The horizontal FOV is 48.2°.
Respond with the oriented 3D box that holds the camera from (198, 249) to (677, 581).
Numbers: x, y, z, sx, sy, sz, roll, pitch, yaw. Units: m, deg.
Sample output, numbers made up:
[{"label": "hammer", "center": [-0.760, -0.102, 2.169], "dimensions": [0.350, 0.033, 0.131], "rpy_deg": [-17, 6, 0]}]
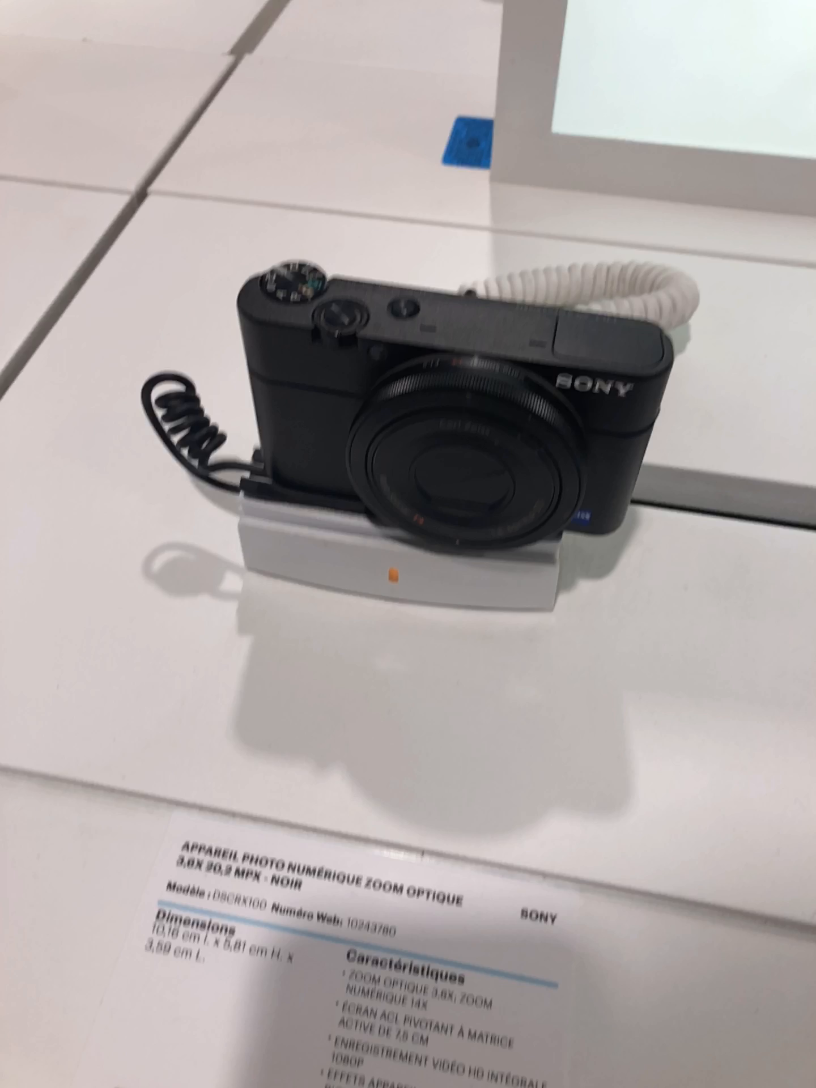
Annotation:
[{"label": "camera", "center": [0.008, -0.031, 0.221], "dimensions": [0.100, 0.056, 0.036], "rpy_deg": [10, 49, 8]}]
